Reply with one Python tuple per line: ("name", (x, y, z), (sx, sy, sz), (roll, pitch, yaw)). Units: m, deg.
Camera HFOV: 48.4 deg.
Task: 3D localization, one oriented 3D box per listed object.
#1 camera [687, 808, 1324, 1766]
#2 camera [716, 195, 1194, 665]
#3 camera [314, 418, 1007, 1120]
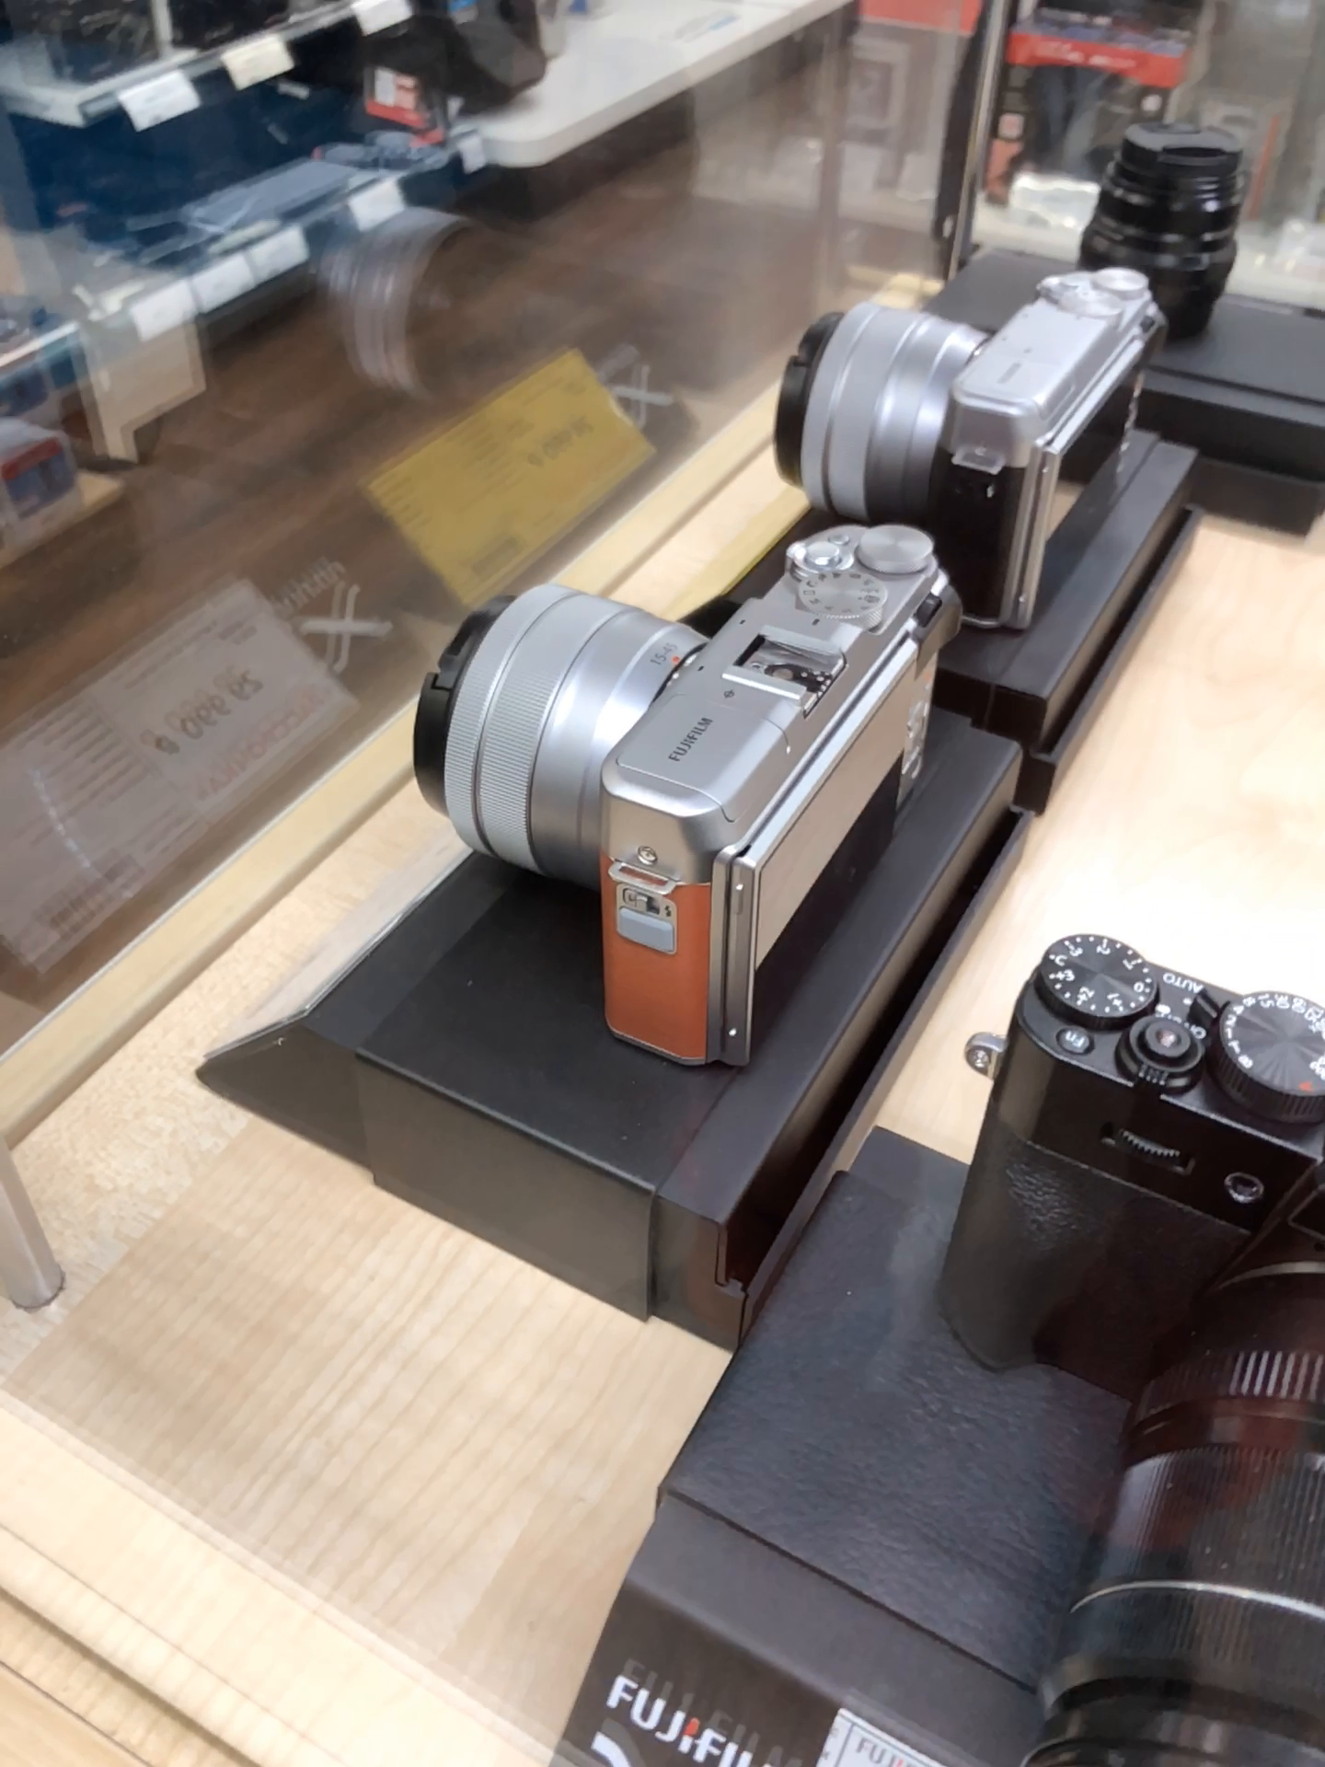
("camera", (0.089, 0.077, 0.192), (0.131, 0.090, 0.113), (21, 45, 20))
("camera", (0.086, -0.138, 0.433), (0.093, 0.075, 0.121), (20, 45, 19))
("camera", (0.004, -0.032, 0.319), (0.093, 0.075, 0.121), (20, 45, 19))
